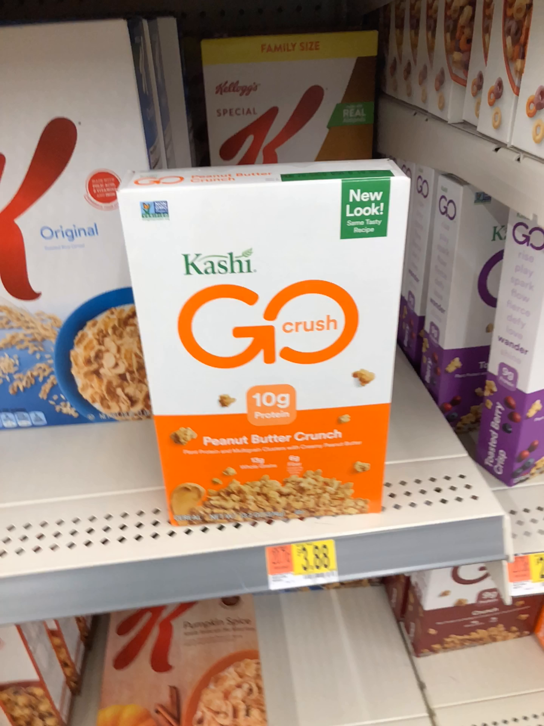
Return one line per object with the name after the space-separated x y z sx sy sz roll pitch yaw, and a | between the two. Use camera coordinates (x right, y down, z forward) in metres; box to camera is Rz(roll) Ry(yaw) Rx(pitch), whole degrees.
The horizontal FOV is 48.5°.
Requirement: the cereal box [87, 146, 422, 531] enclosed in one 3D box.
-0.004 -0.002 0.394 0.170 0.249 0.050 -4 32 -1 | cereal box
